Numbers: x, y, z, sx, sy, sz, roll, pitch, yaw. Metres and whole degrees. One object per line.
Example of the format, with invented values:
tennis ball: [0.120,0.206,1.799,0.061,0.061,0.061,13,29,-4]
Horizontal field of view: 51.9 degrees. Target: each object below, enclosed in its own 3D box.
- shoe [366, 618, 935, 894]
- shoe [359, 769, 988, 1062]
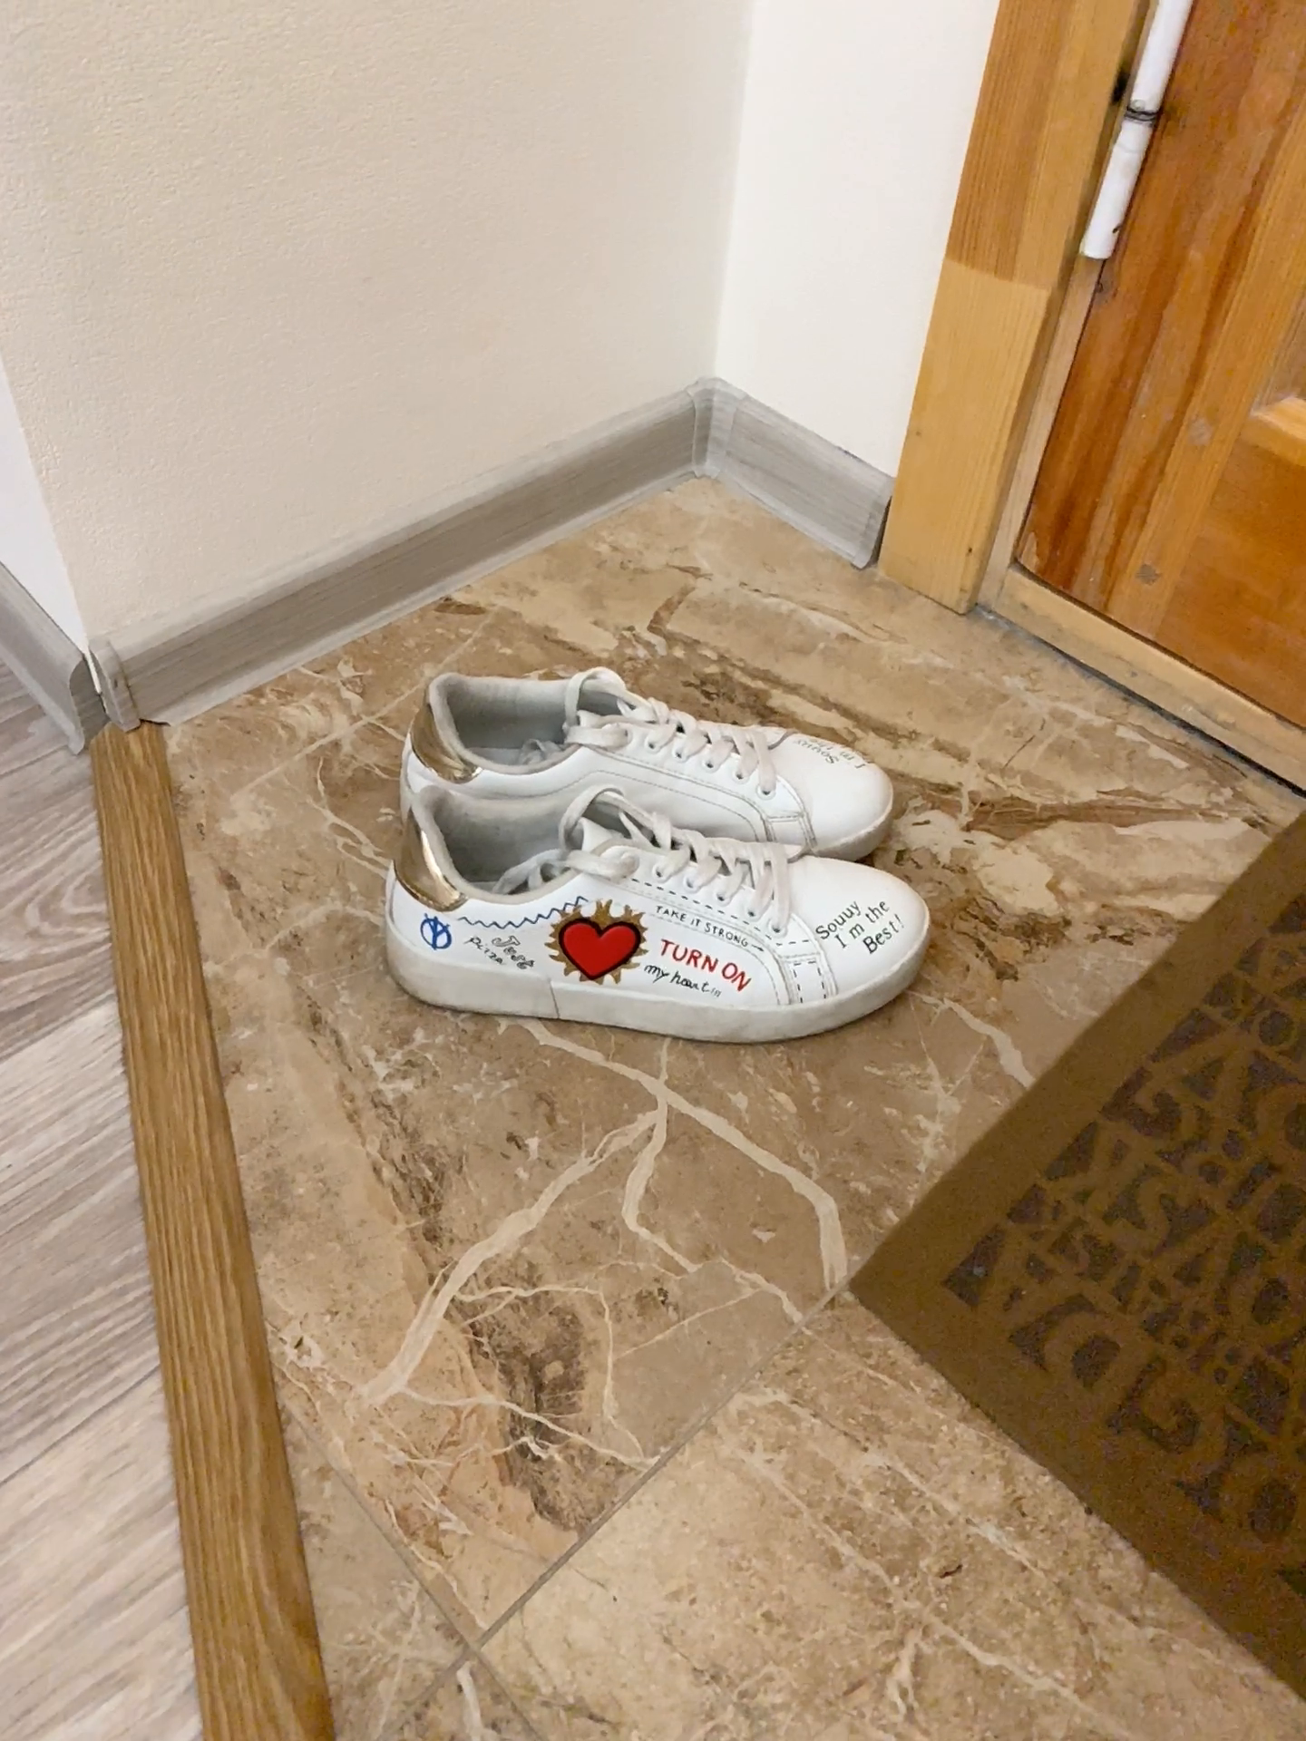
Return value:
shoe: [-0.002,-0.056,0.663,0.256,0.080,0.093,3,47,-2]
shoe: [0.007,0.021,0.604,0.256,0.080,0.093,2,47,-3]
